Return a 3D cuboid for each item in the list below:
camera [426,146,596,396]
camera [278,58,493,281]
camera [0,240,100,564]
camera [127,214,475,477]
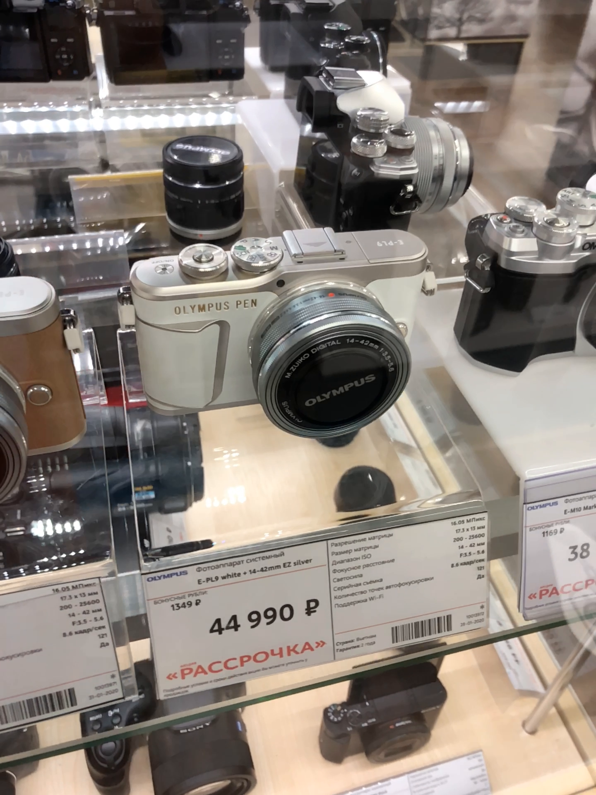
[{"bbox_3d":[0.122,-0.054,0.274,0.114,0.072,0.053,-10,44,-14],"label":"camera"},{"bbox_3d":[0.039,-0.130,0.365,0.072,0.072,0.115,-9,44,-14],"label":"camera"},{"bbox_3d":[-0.119,0.000,0.221,0.087,0.072,0.061,-10,44,-15],"label":"camera"},{"bbox_3d":[-0.002,-0.022,0.261,0.114,0.070,0.053,-10,44,-14],"label":"camera"}]
